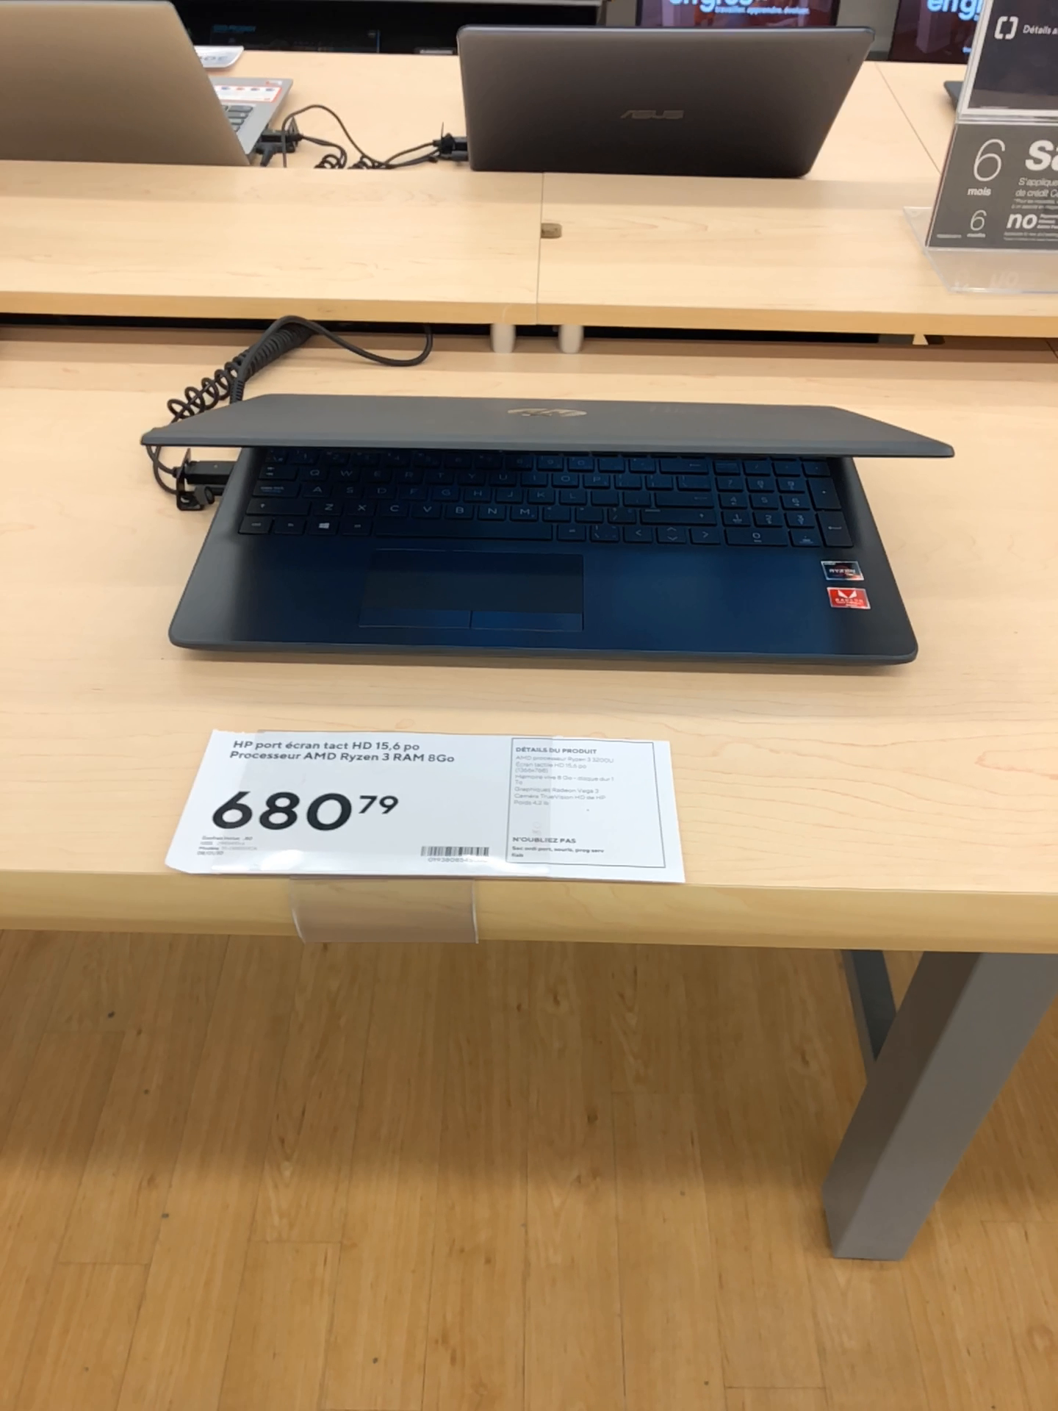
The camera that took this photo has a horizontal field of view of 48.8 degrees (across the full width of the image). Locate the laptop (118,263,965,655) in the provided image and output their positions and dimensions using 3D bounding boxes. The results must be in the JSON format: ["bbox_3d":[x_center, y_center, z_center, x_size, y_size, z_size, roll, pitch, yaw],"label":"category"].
[{"bbox_3d":[0.011,-0.141,0.623,0.366,0.090,0.243,1,42,-1],"label":"laptop"}]
